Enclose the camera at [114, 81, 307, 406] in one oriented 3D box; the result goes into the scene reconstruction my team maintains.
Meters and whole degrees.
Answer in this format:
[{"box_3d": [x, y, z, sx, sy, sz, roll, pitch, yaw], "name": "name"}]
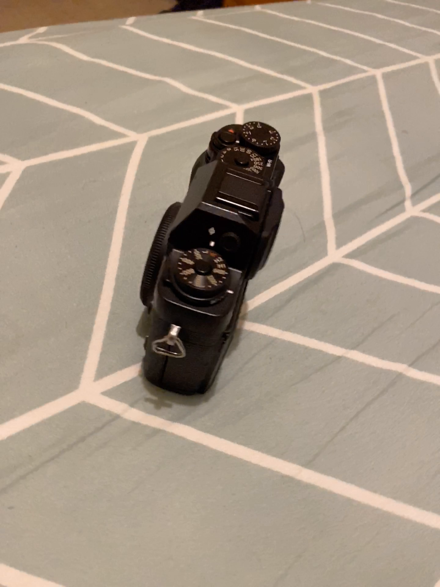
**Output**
[{"box_3d": [-0.003, -0.027, 0.229, 0.051, 0.087, 0.131, 18, 52, 1], "name": "camera"}]
